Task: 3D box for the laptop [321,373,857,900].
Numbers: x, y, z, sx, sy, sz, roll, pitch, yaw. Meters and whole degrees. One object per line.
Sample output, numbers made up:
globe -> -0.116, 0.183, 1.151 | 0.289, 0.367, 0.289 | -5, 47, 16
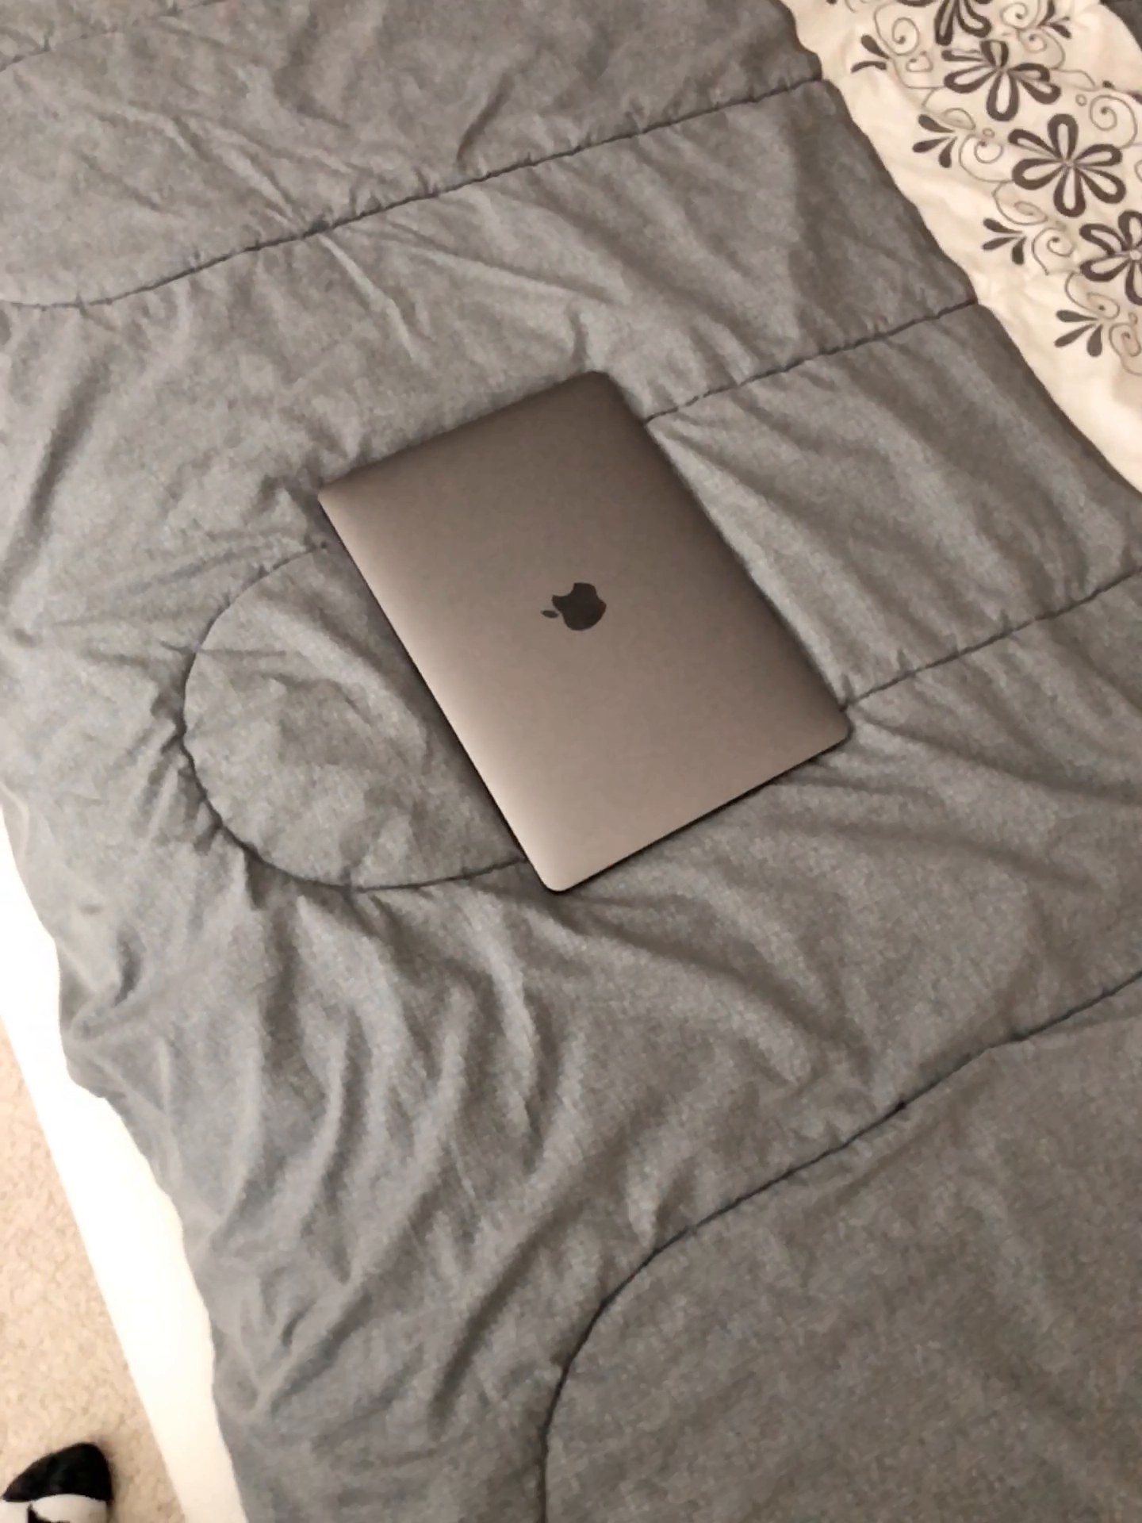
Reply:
laptop -> 0.006, -0.090, 0.771 | 0.207, 0.008, 0.295 | -28, 72, -13
